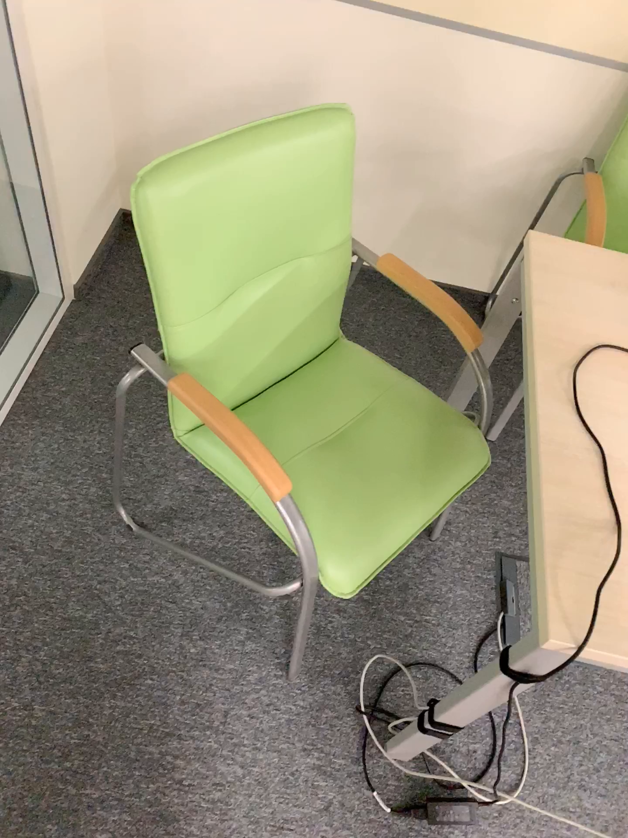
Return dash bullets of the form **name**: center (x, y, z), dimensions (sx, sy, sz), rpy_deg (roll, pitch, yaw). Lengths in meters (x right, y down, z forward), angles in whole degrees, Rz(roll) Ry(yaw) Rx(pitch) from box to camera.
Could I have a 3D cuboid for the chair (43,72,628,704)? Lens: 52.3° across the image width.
- **chair**: center (0.012, -0.031, 1.300), dimensions (0.672, 0.896, 0.650), rpy_deg (-34, 66, -31)
